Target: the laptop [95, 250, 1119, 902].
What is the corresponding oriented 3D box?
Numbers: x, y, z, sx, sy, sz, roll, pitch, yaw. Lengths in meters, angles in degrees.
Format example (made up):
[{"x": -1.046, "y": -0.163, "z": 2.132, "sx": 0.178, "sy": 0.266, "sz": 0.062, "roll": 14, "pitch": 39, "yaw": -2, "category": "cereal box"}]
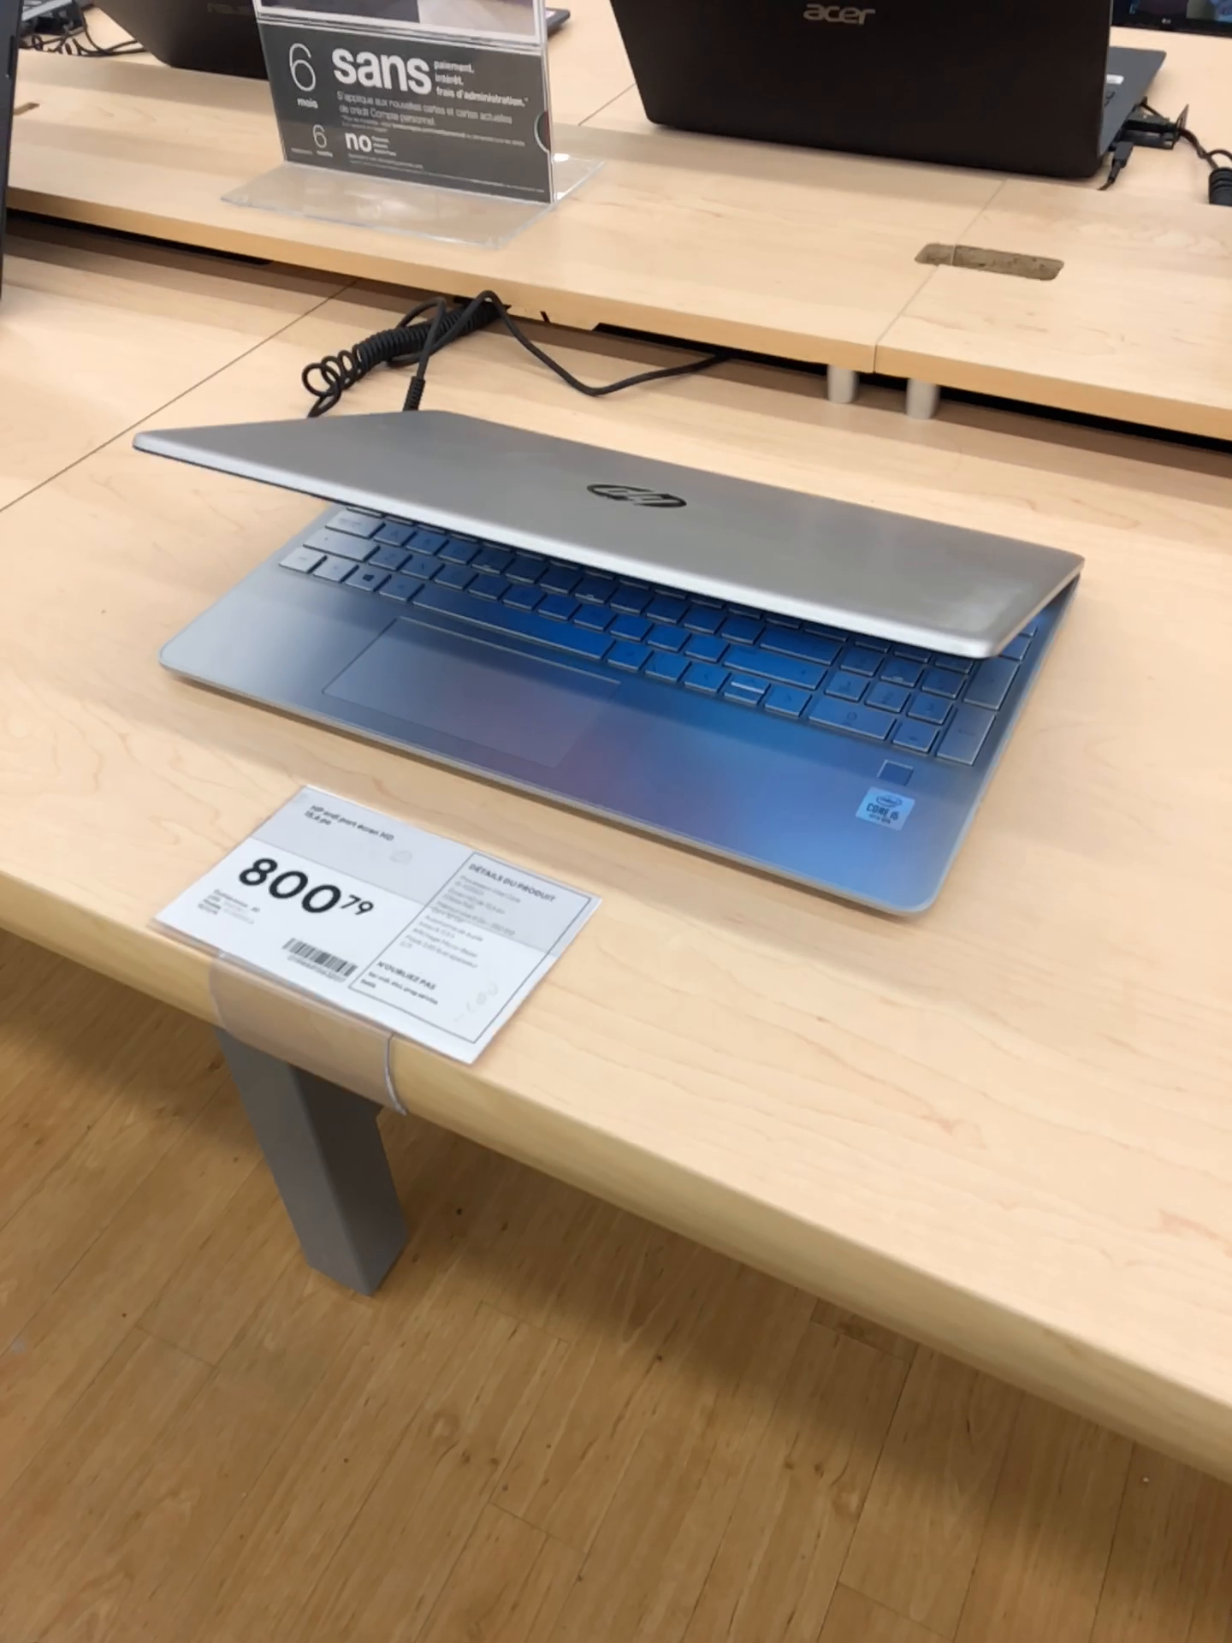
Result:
[{"x": 0.002, "y": -0.126, "z": 0.567, "sx": 0.341, "sy": 0.086, "sz": 0.224, "roll": 18, "pitch": 50, "yaw": 20, "category": "laptop"}]
